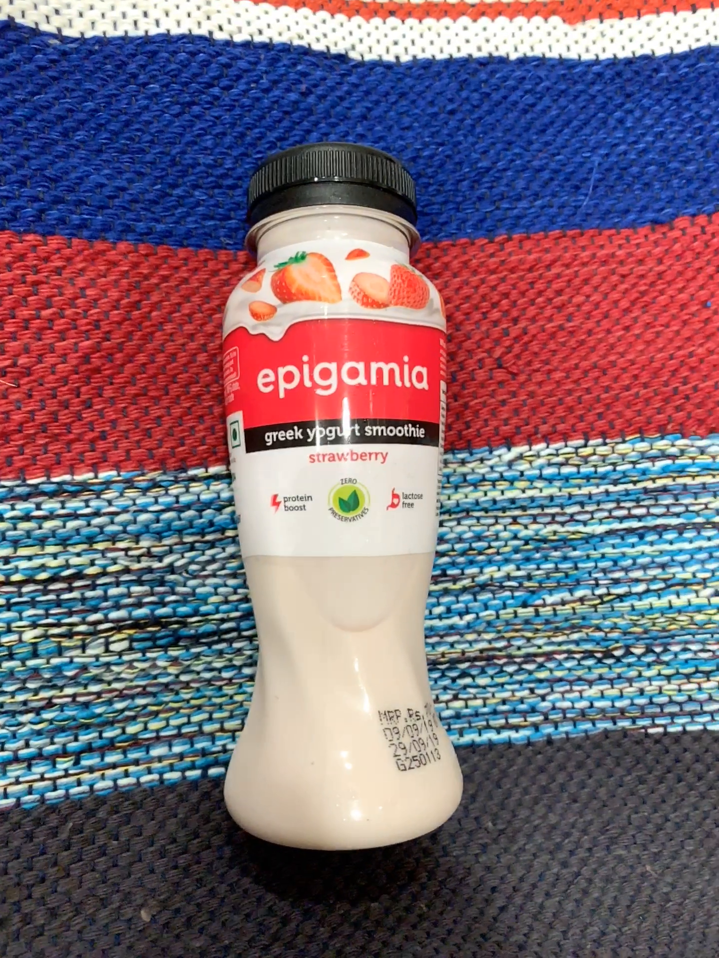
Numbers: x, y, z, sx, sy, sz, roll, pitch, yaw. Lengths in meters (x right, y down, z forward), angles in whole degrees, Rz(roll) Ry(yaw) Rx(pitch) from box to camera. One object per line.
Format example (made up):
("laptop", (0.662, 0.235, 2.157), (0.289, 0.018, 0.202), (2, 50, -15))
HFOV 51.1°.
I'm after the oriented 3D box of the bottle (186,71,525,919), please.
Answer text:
("bottle", (-0.008, 0.000, 0.171), (0.060, 0.050, 0.160), (-1, 81, -13))
